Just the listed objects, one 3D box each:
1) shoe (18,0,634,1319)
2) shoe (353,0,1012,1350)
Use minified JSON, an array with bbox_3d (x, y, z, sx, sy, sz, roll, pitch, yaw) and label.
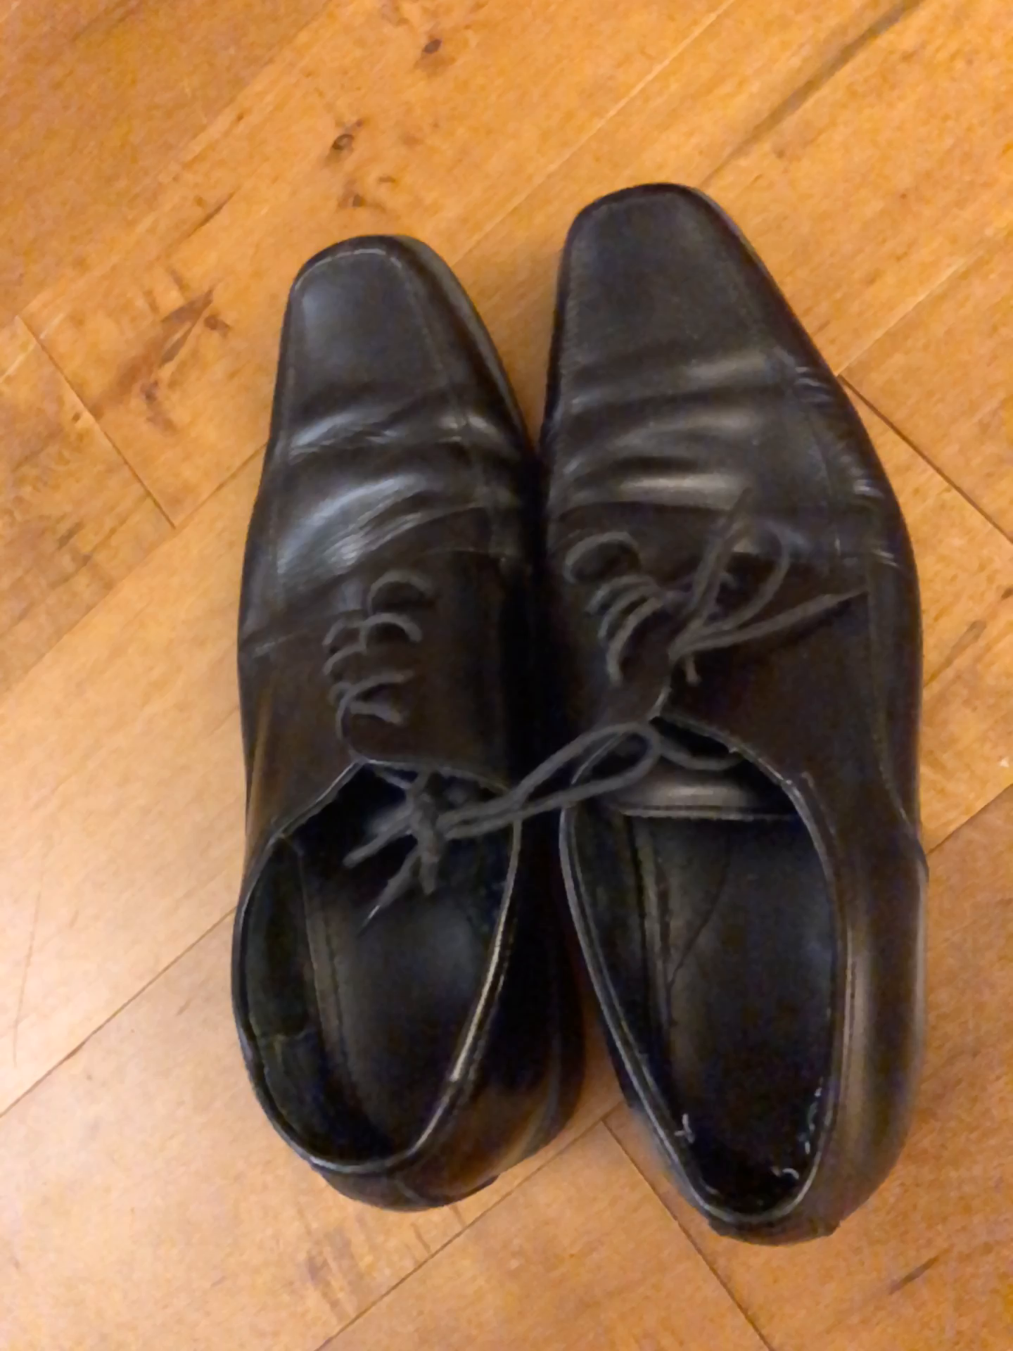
[{"bbox_3d":[-0.049,-0.009,0.323,0.110,0.130,0.310,-9,77,17],"label":"shoe"},{"bbox_3d":[0.049,-0.019,0.291,0.110,0.130,0.310,-9,77,17],"label":"shoe"}]
